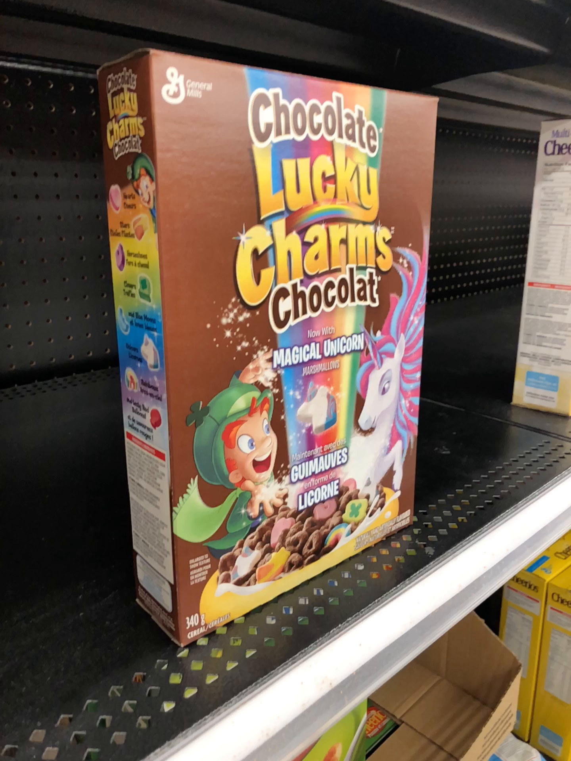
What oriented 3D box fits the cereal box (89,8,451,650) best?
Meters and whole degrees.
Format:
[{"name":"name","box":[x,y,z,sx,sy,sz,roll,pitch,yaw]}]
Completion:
[{"name":"cereal box","box":[0.005,-0.027,0.361,0.201,0.289,0.050,-13,20,-39]}]
